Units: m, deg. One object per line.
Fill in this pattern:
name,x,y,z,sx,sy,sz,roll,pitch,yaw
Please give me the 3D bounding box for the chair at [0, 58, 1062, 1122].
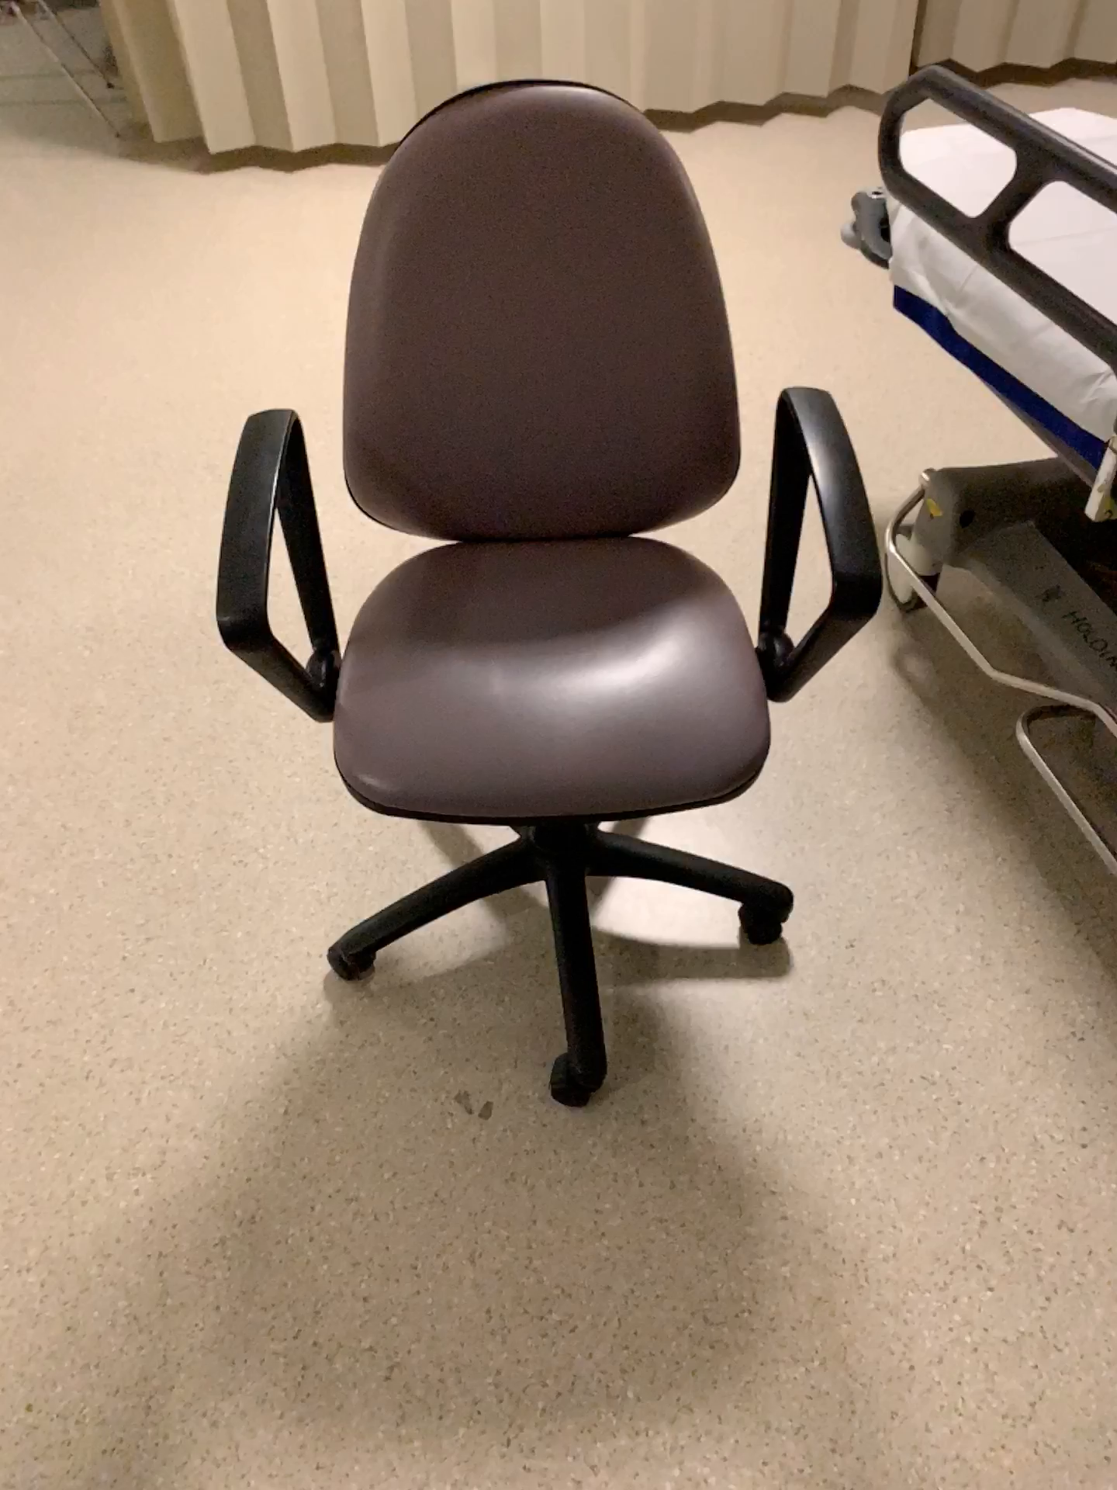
chair,-0.015,-0.132,1.241,0.650,0.882,0.717,-1,46,2
